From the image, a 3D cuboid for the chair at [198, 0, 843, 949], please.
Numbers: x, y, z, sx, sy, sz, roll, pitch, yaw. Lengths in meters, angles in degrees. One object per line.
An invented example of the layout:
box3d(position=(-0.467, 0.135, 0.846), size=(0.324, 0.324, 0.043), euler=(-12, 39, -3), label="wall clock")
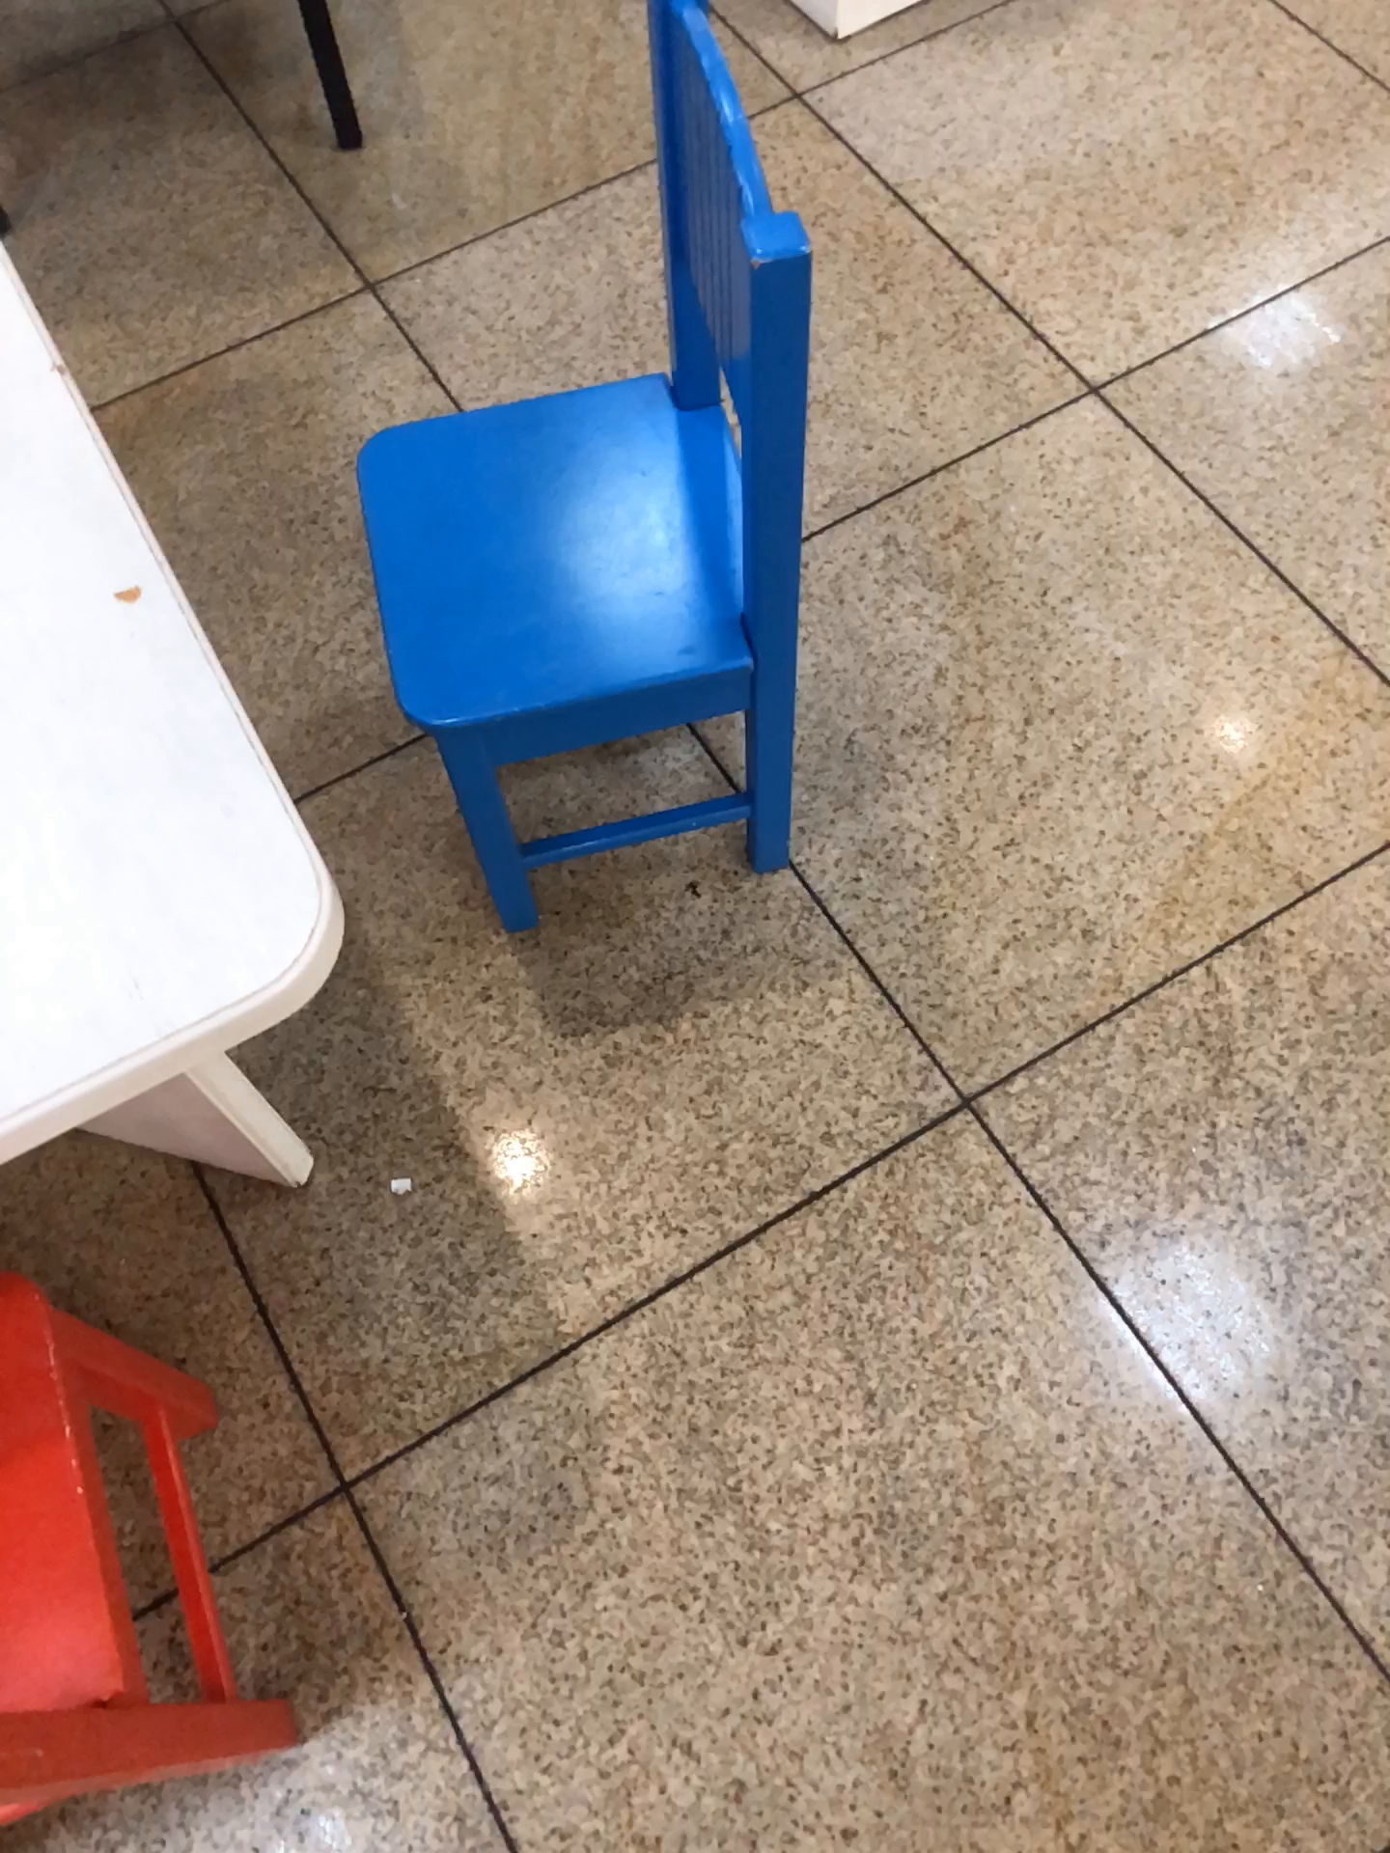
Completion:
box3d(position=(-0.094, -0.288, 1.114), size=(0.300, 0.639, 0.300), euler=(-14, 63, -4), label="chair")
